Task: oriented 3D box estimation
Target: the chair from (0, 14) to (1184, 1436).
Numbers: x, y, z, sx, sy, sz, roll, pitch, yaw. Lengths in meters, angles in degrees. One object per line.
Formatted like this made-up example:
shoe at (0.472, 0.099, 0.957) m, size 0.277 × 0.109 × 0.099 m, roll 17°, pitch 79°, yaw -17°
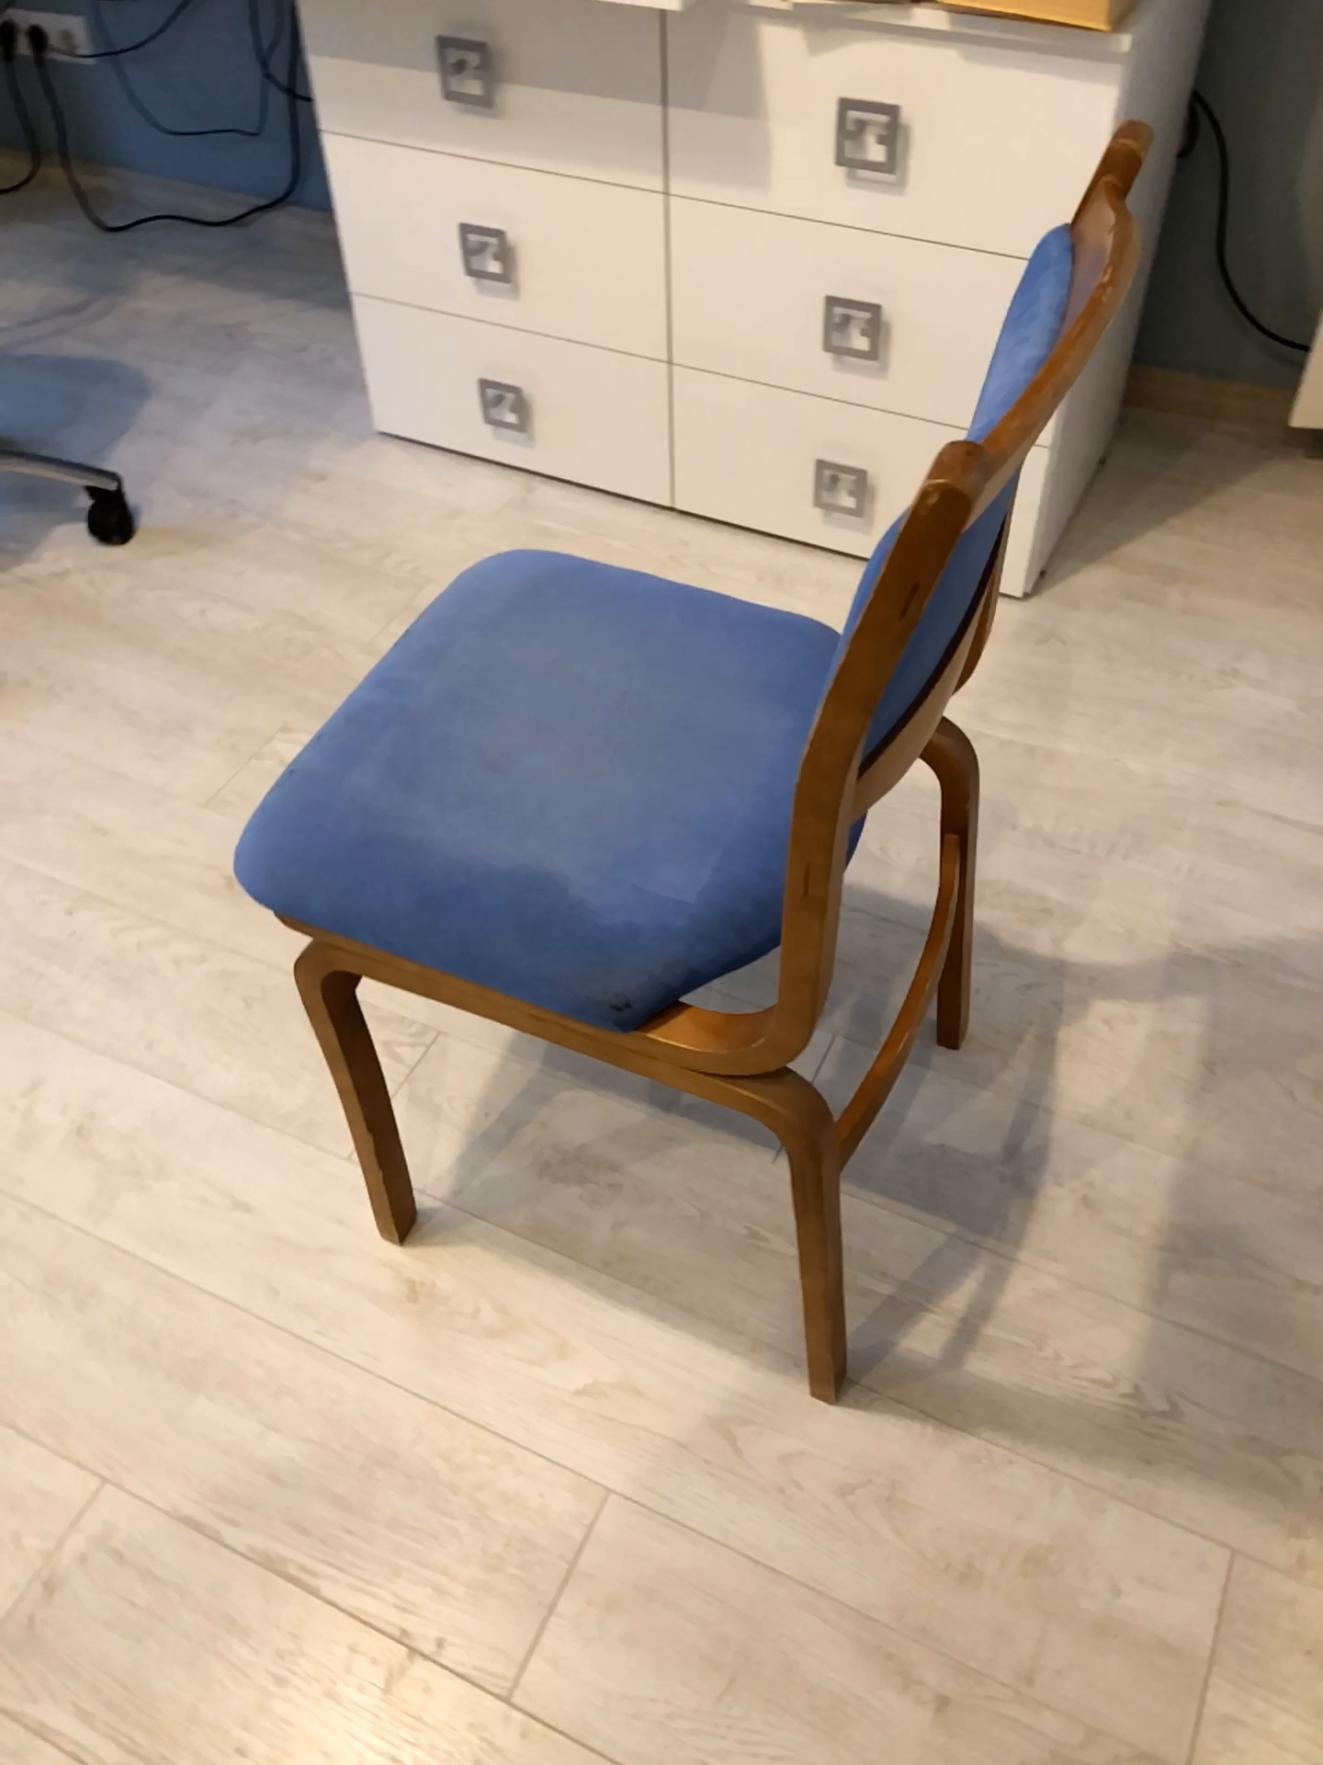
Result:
chair at (-0.007, -0.064, 1.016) m, size 0.470 × 0.805 × 0.453 m, roll 16°, pitch 50°, yaw 16°
